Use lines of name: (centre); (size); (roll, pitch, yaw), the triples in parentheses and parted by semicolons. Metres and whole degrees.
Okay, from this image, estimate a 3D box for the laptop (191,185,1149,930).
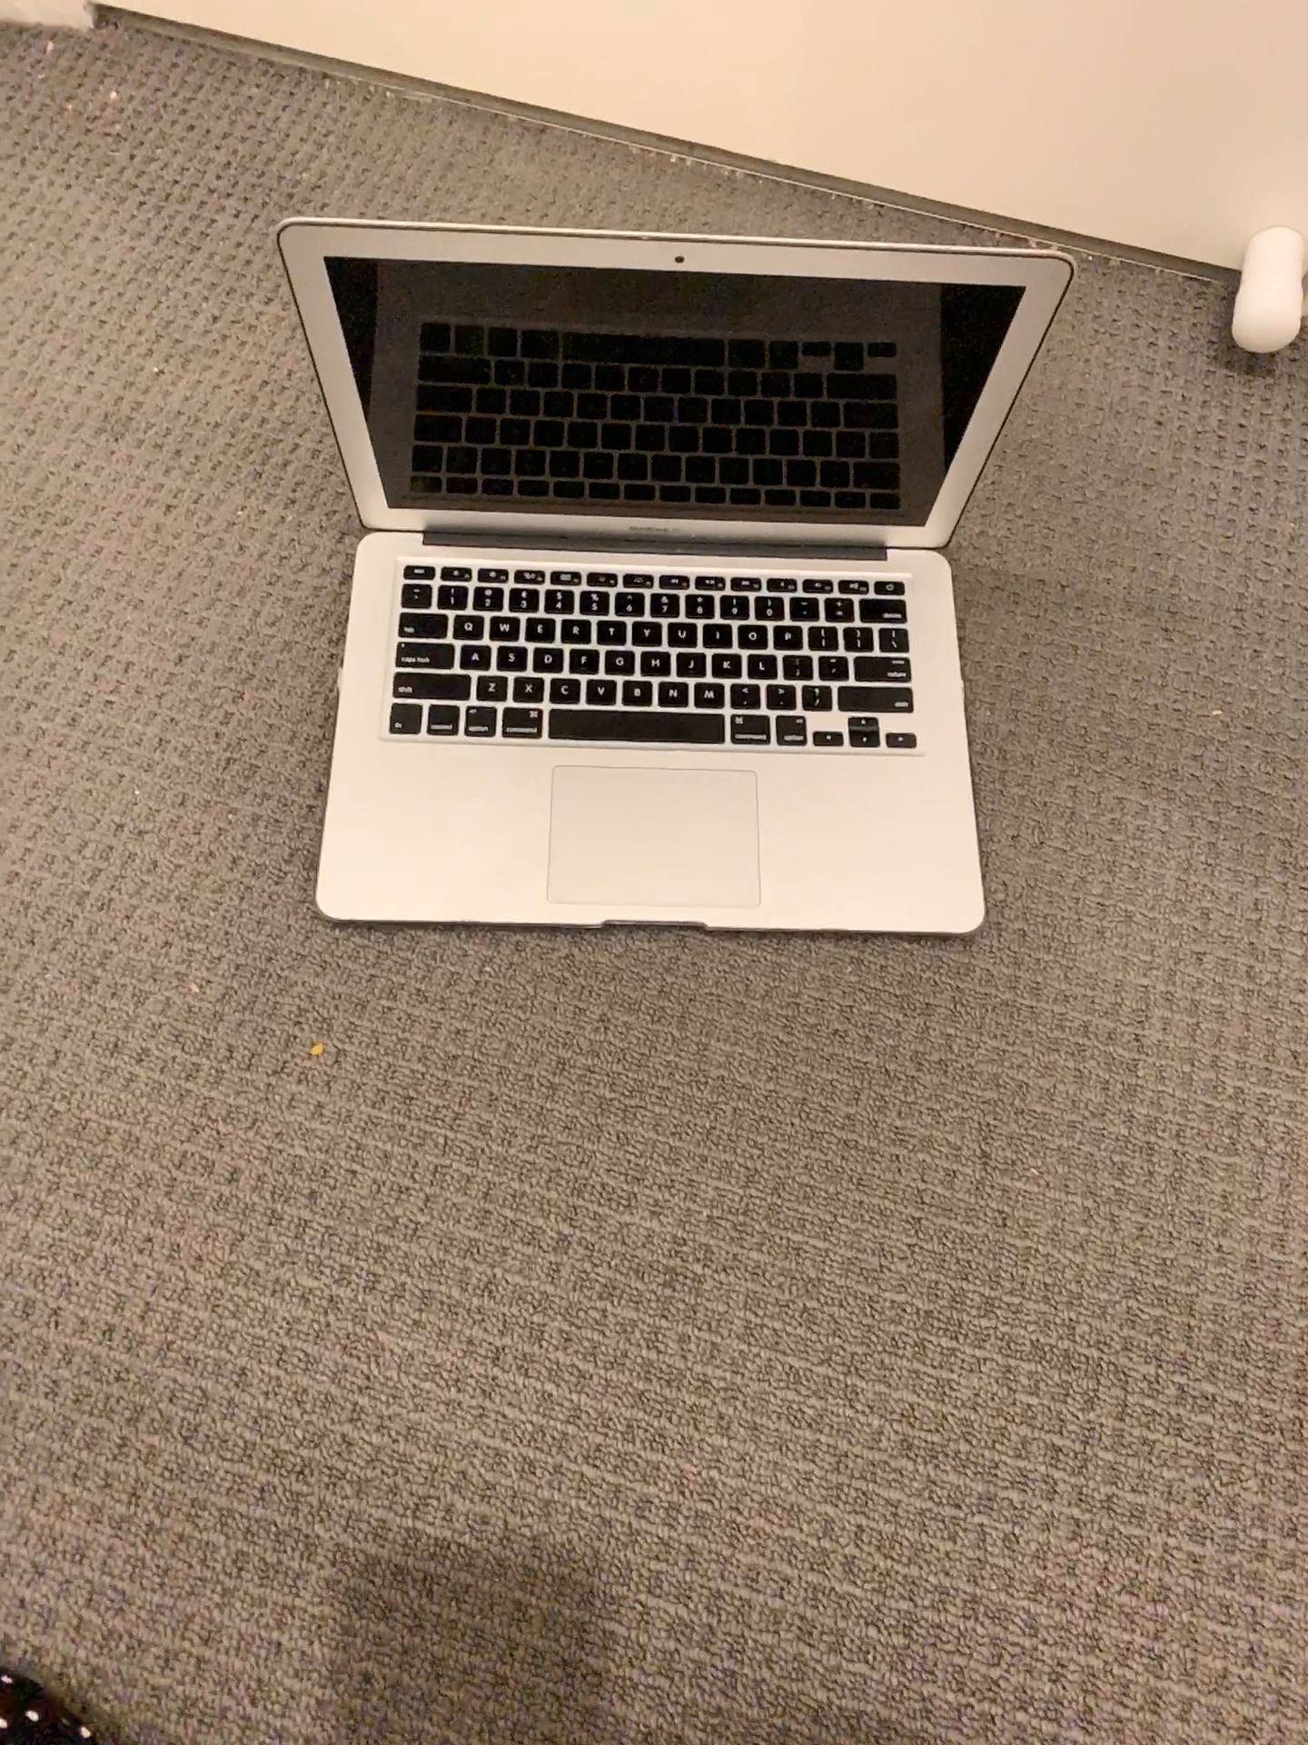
laptop: (0.004, -0.124, 0.593); (0.322, 0.215, 0.227); (1, 65, -2)
